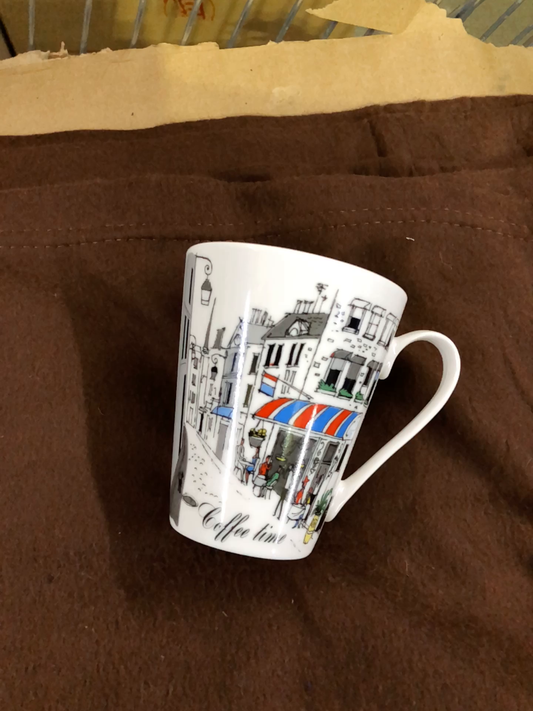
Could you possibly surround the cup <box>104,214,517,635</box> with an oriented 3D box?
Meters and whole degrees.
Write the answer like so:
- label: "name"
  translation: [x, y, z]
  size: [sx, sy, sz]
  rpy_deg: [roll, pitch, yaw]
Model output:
- label: "cup"
  translation: [0.013, 0.024, 0.225]
  size: [0.110, 0.080, 0.110]
  rpy_deg: [0, 86, -5]
